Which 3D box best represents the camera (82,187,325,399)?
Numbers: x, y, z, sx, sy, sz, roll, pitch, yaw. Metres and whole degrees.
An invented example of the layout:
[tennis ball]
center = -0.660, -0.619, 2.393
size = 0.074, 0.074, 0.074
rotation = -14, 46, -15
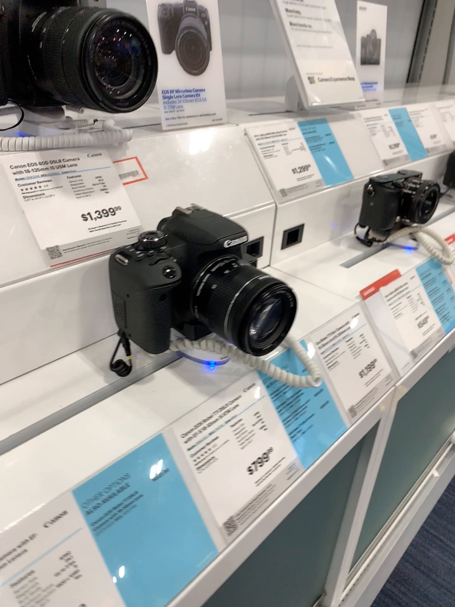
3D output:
[camera]
center = -0.019, -0.022, 0.393
size = 0.130, 0.099, 0.140
rotation = 26, 37, 36
